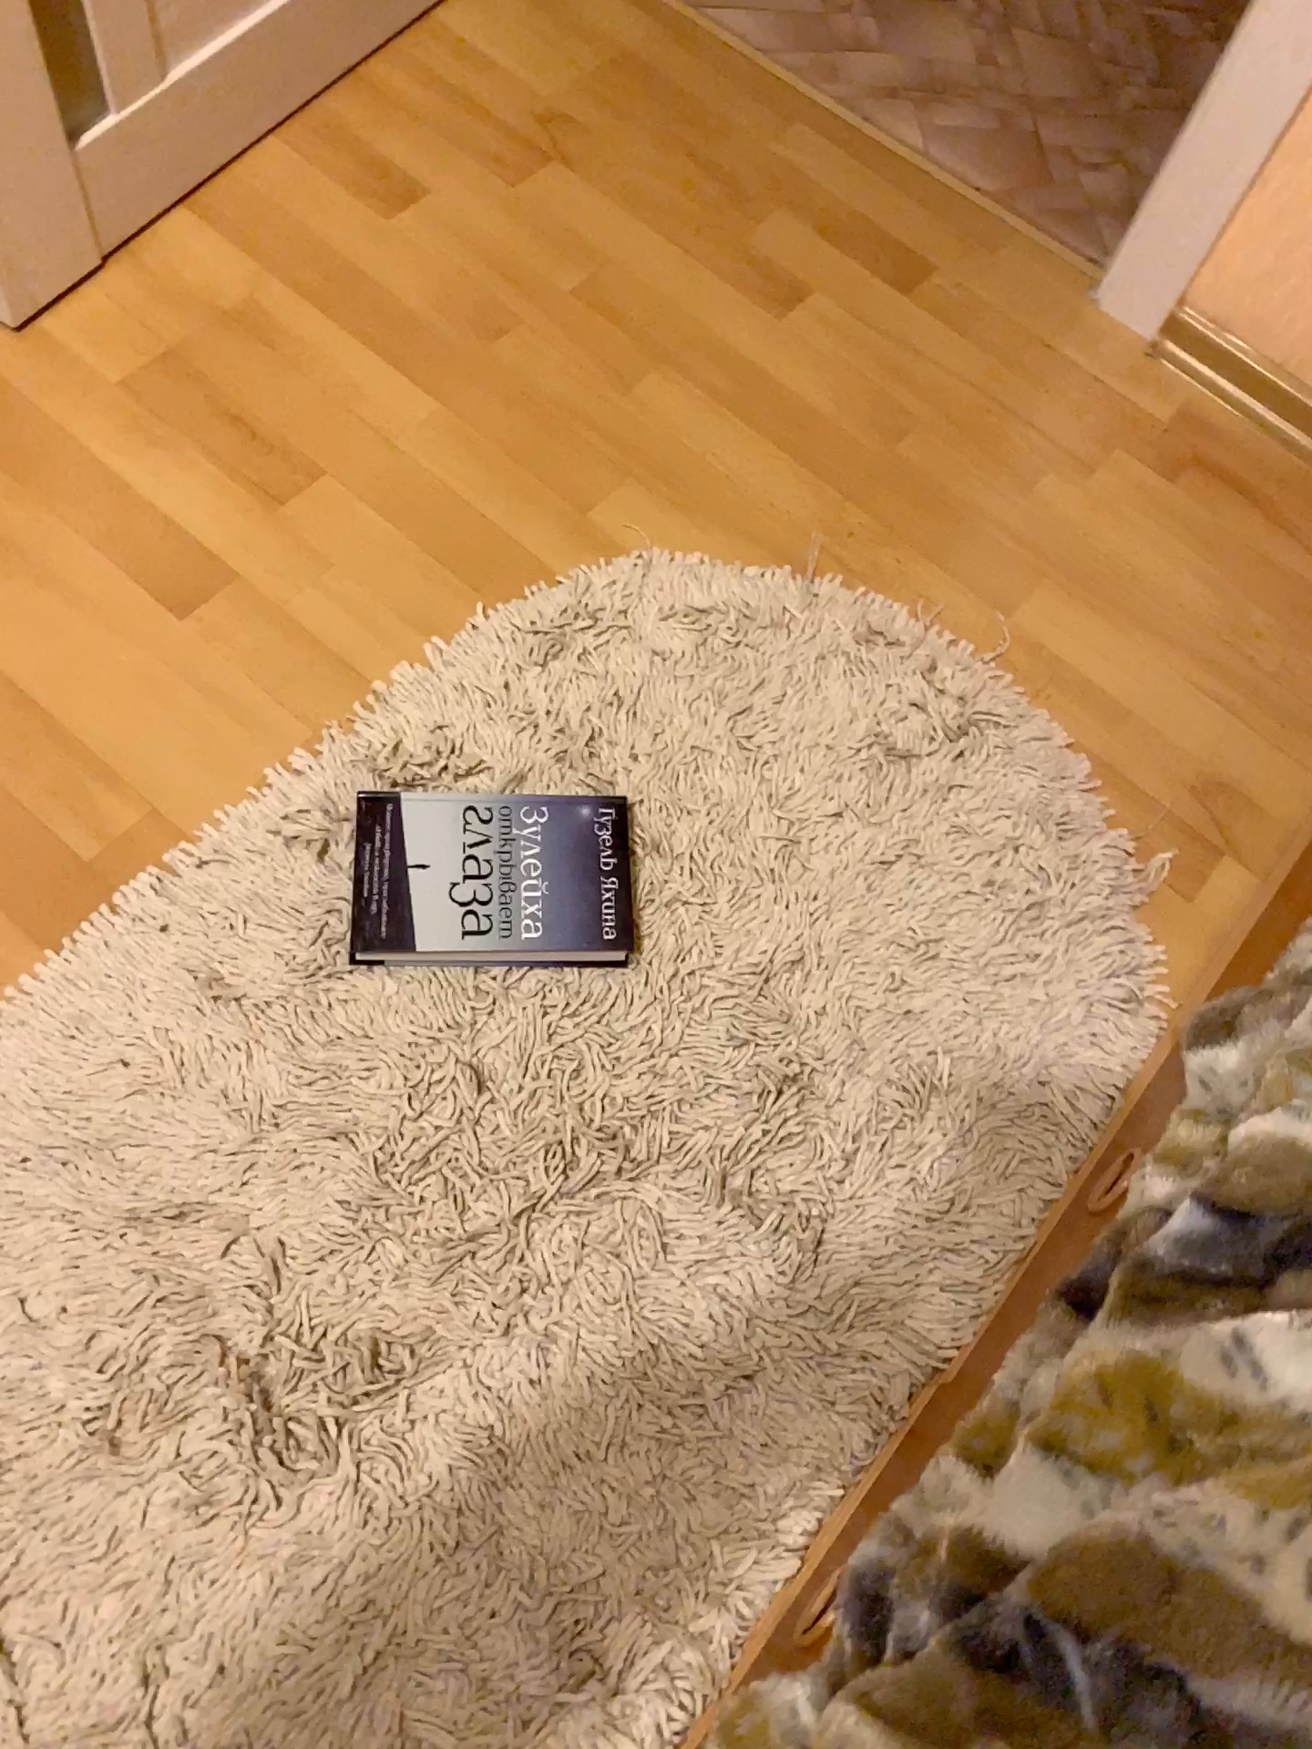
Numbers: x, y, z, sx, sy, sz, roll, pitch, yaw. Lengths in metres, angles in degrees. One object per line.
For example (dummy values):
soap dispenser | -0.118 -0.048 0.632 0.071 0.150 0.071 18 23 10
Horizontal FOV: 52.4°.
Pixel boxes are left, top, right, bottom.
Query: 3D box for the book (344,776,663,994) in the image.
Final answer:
book | -0.109 0.008 0.971 0.220 0.040 0.151 2 66 -8
